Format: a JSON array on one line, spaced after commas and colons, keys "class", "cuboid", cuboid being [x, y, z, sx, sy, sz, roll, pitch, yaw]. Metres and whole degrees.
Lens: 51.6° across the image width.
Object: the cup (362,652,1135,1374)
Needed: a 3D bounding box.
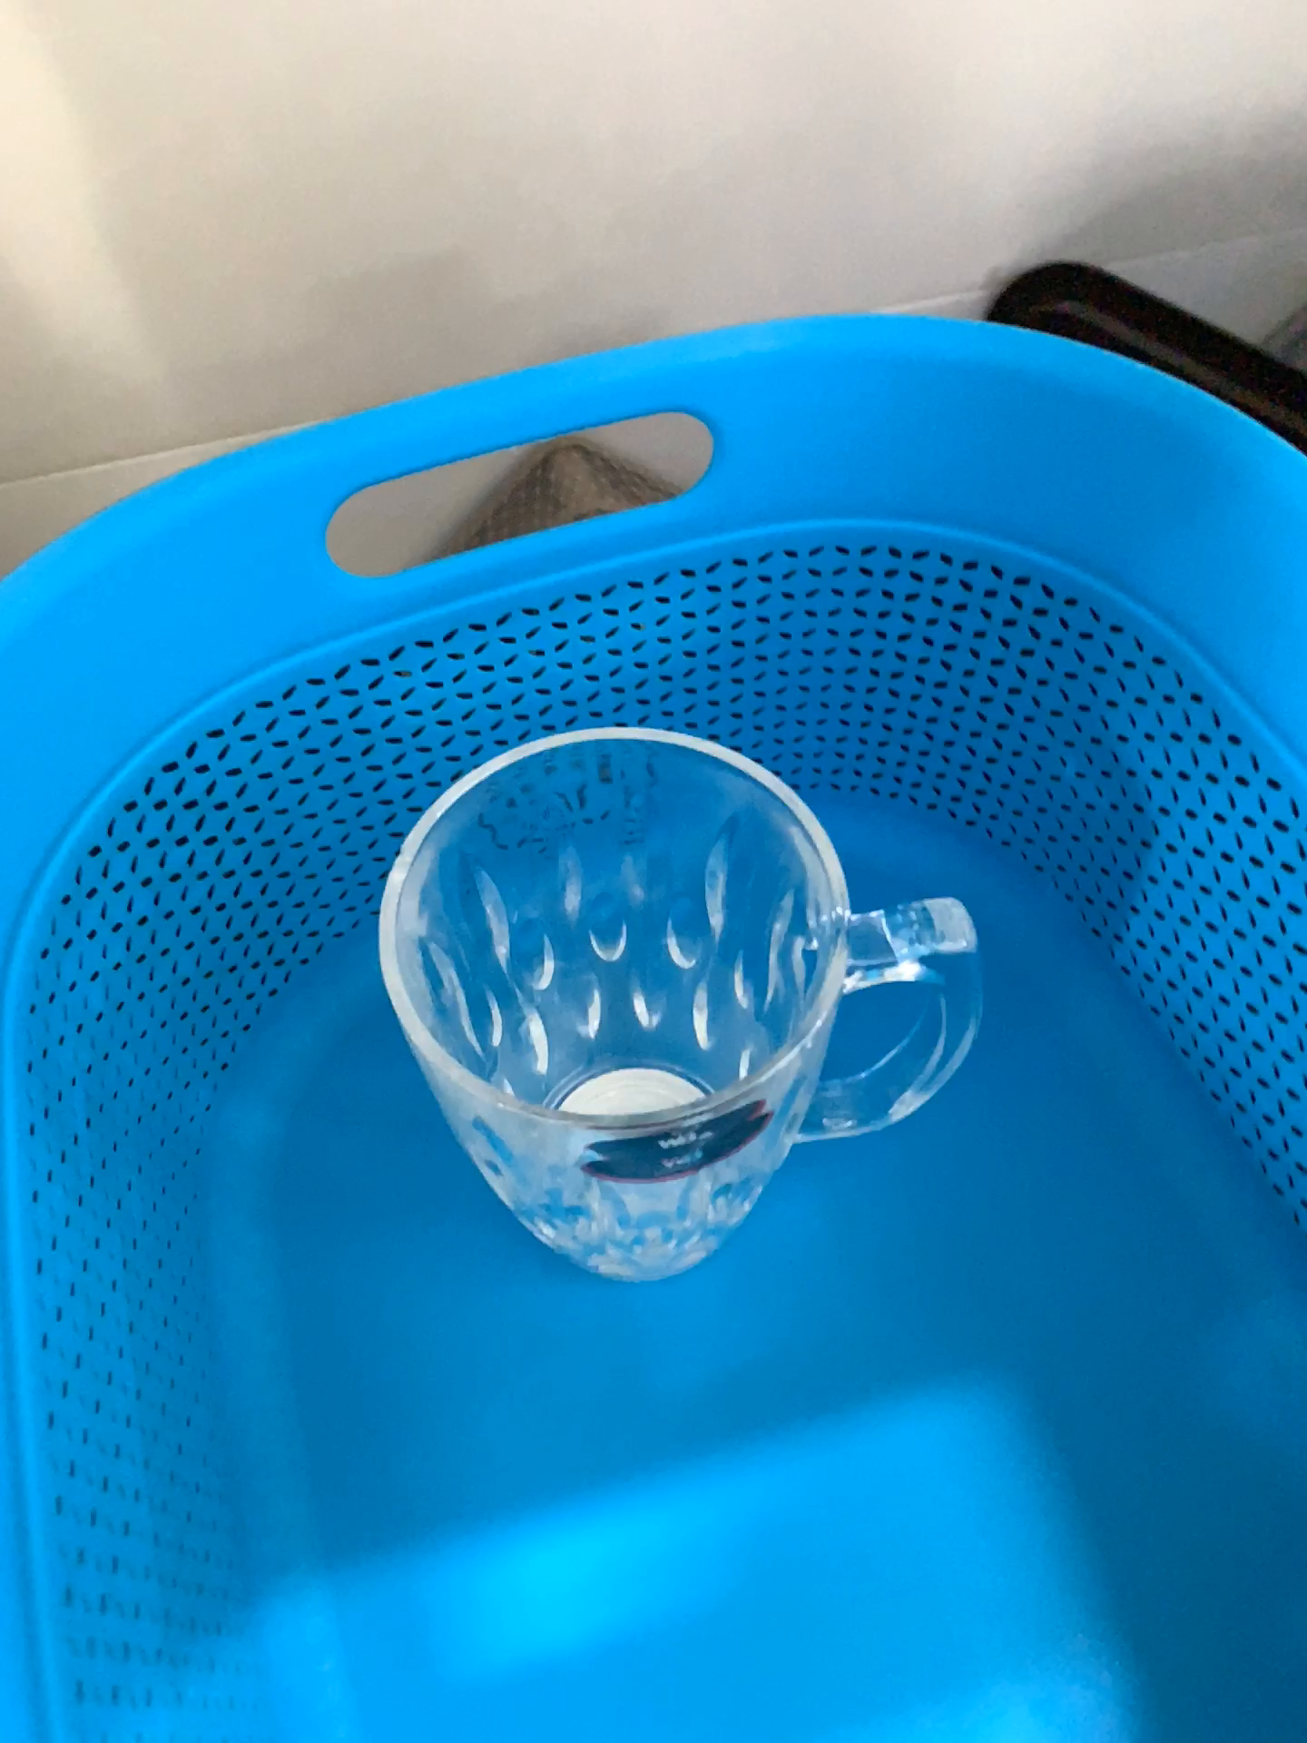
[{"class": "cup", "cuboid": [0.012, 0.033, 0.266, 0.110, 0.109, 0.080, -10, 56, -5]}]
